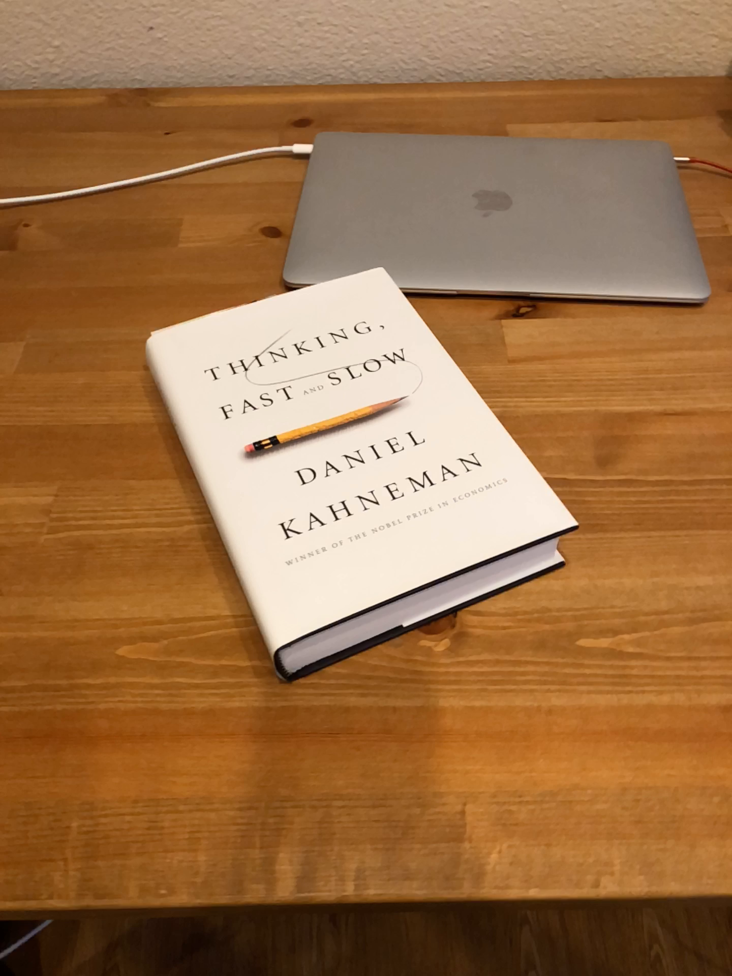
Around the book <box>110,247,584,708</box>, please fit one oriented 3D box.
[{"bbox_3d":[-0.025,-0.027,0.475,0.180,0.060,0.251,-19,52,-14],"label":"book"}]
